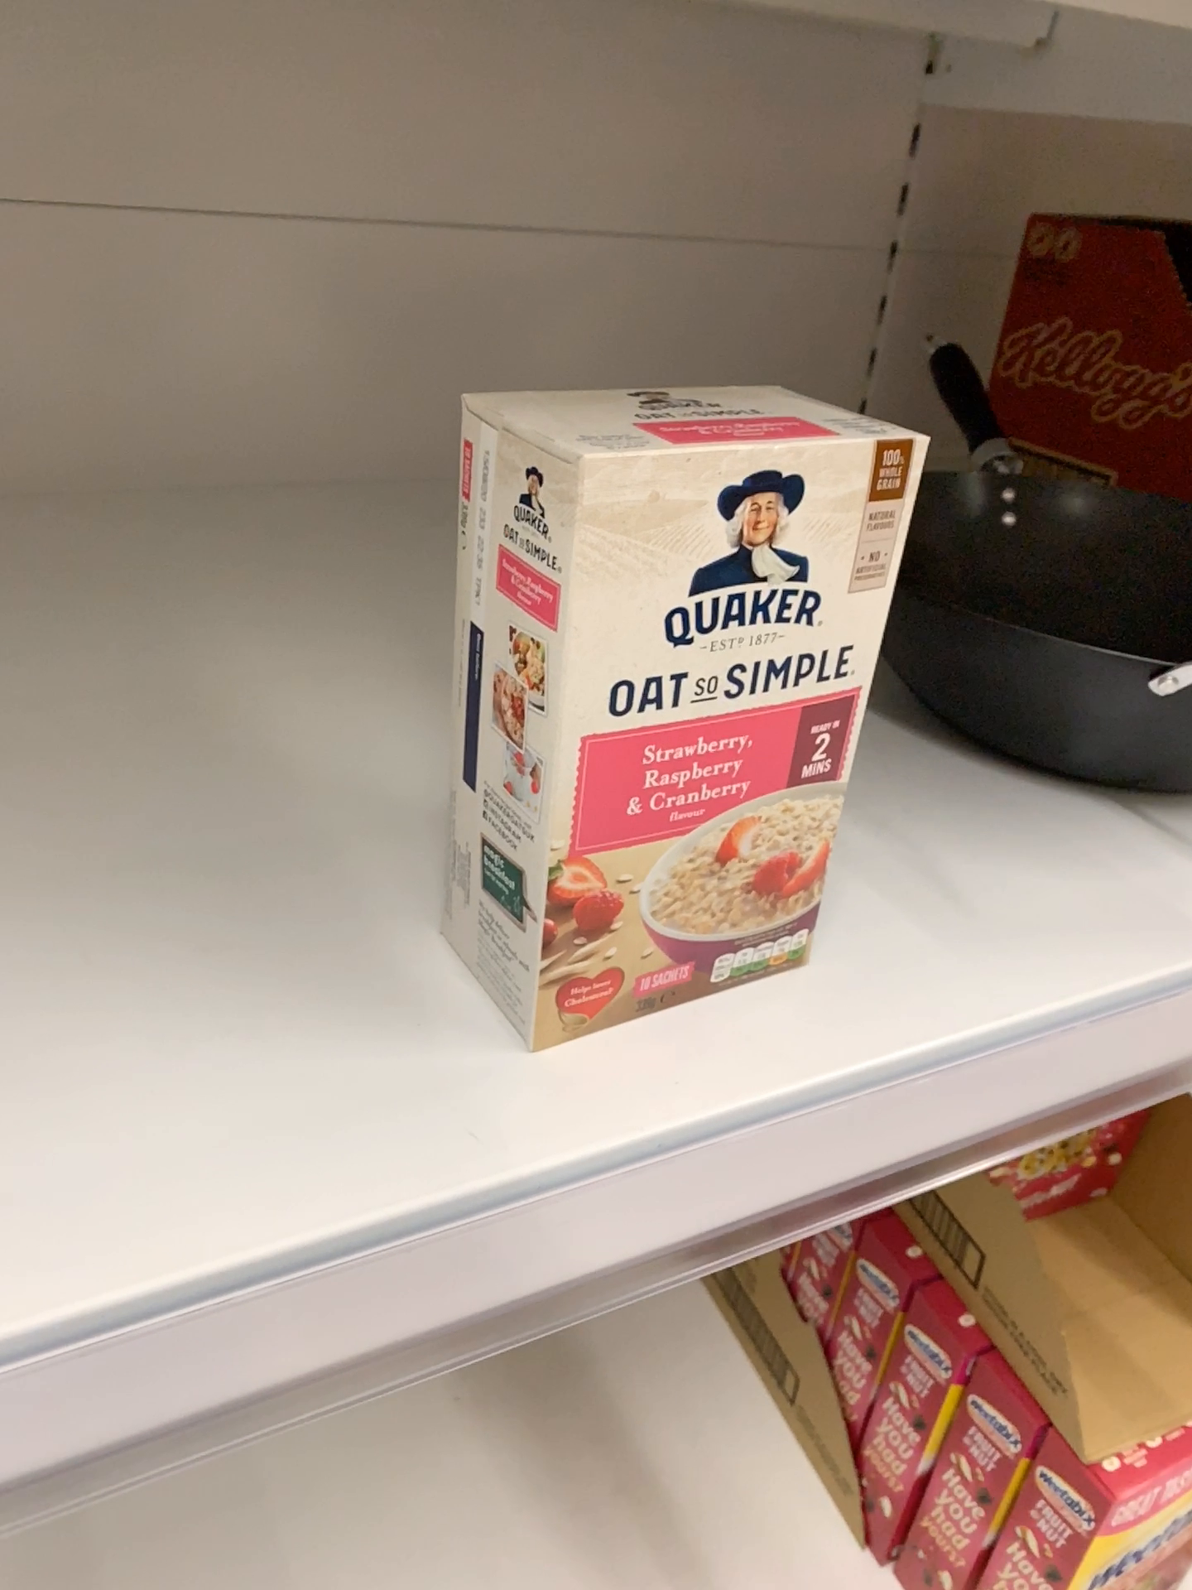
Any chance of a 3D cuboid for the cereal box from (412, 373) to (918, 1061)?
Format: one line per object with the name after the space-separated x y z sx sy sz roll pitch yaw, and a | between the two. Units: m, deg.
0.015 -0.031 0.432 0.130 0.208 0.080 -12 33 -30 | cereal box
